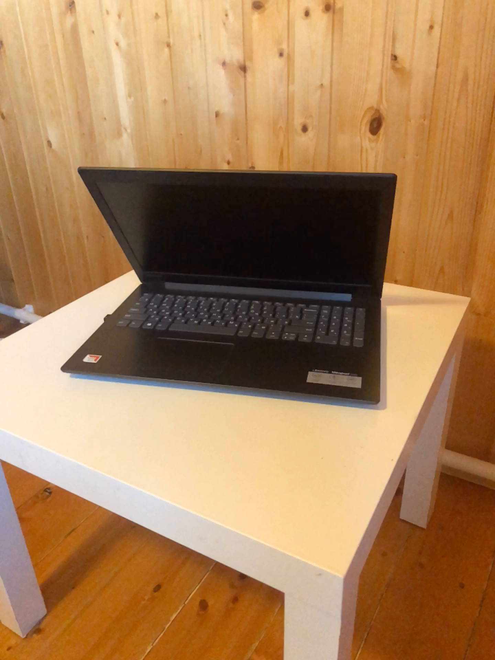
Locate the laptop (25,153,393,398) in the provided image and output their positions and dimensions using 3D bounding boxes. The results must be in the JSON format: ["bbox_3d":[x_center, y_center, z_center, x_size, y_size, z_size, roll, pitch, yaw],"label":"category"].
[{"bbox_3d":[-0.020,-0.092,0.679,0.372,0.206,0.251,4,28,13],"label":"laptop"}]
